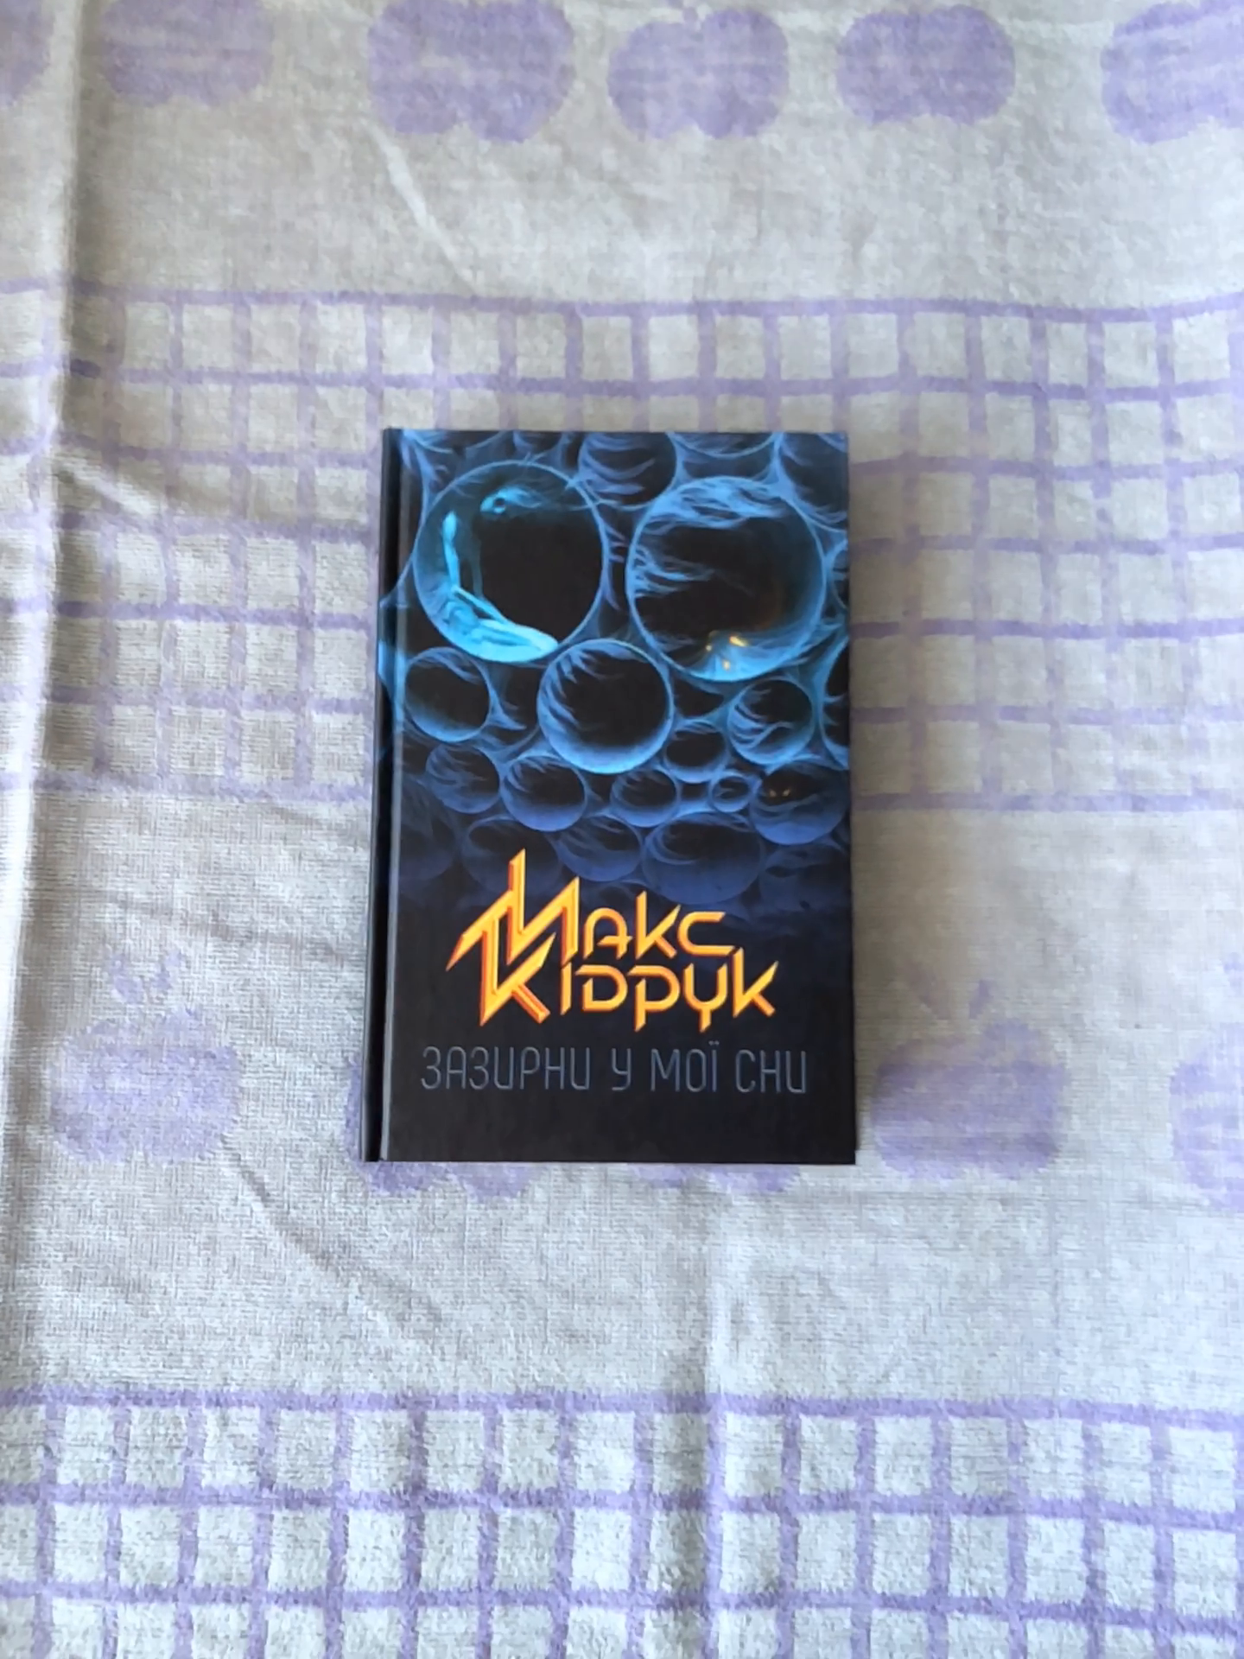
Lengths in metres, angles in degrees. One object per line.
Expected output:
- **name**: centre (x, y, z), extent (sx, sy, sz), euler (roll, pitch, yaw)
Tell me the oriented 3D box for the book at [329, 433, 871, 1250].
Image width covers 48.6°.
- **book**: centre (-0.004, 0.001, 0.389), extent (0.140, 0.036, 0.220), euler (1, 82, 0)
